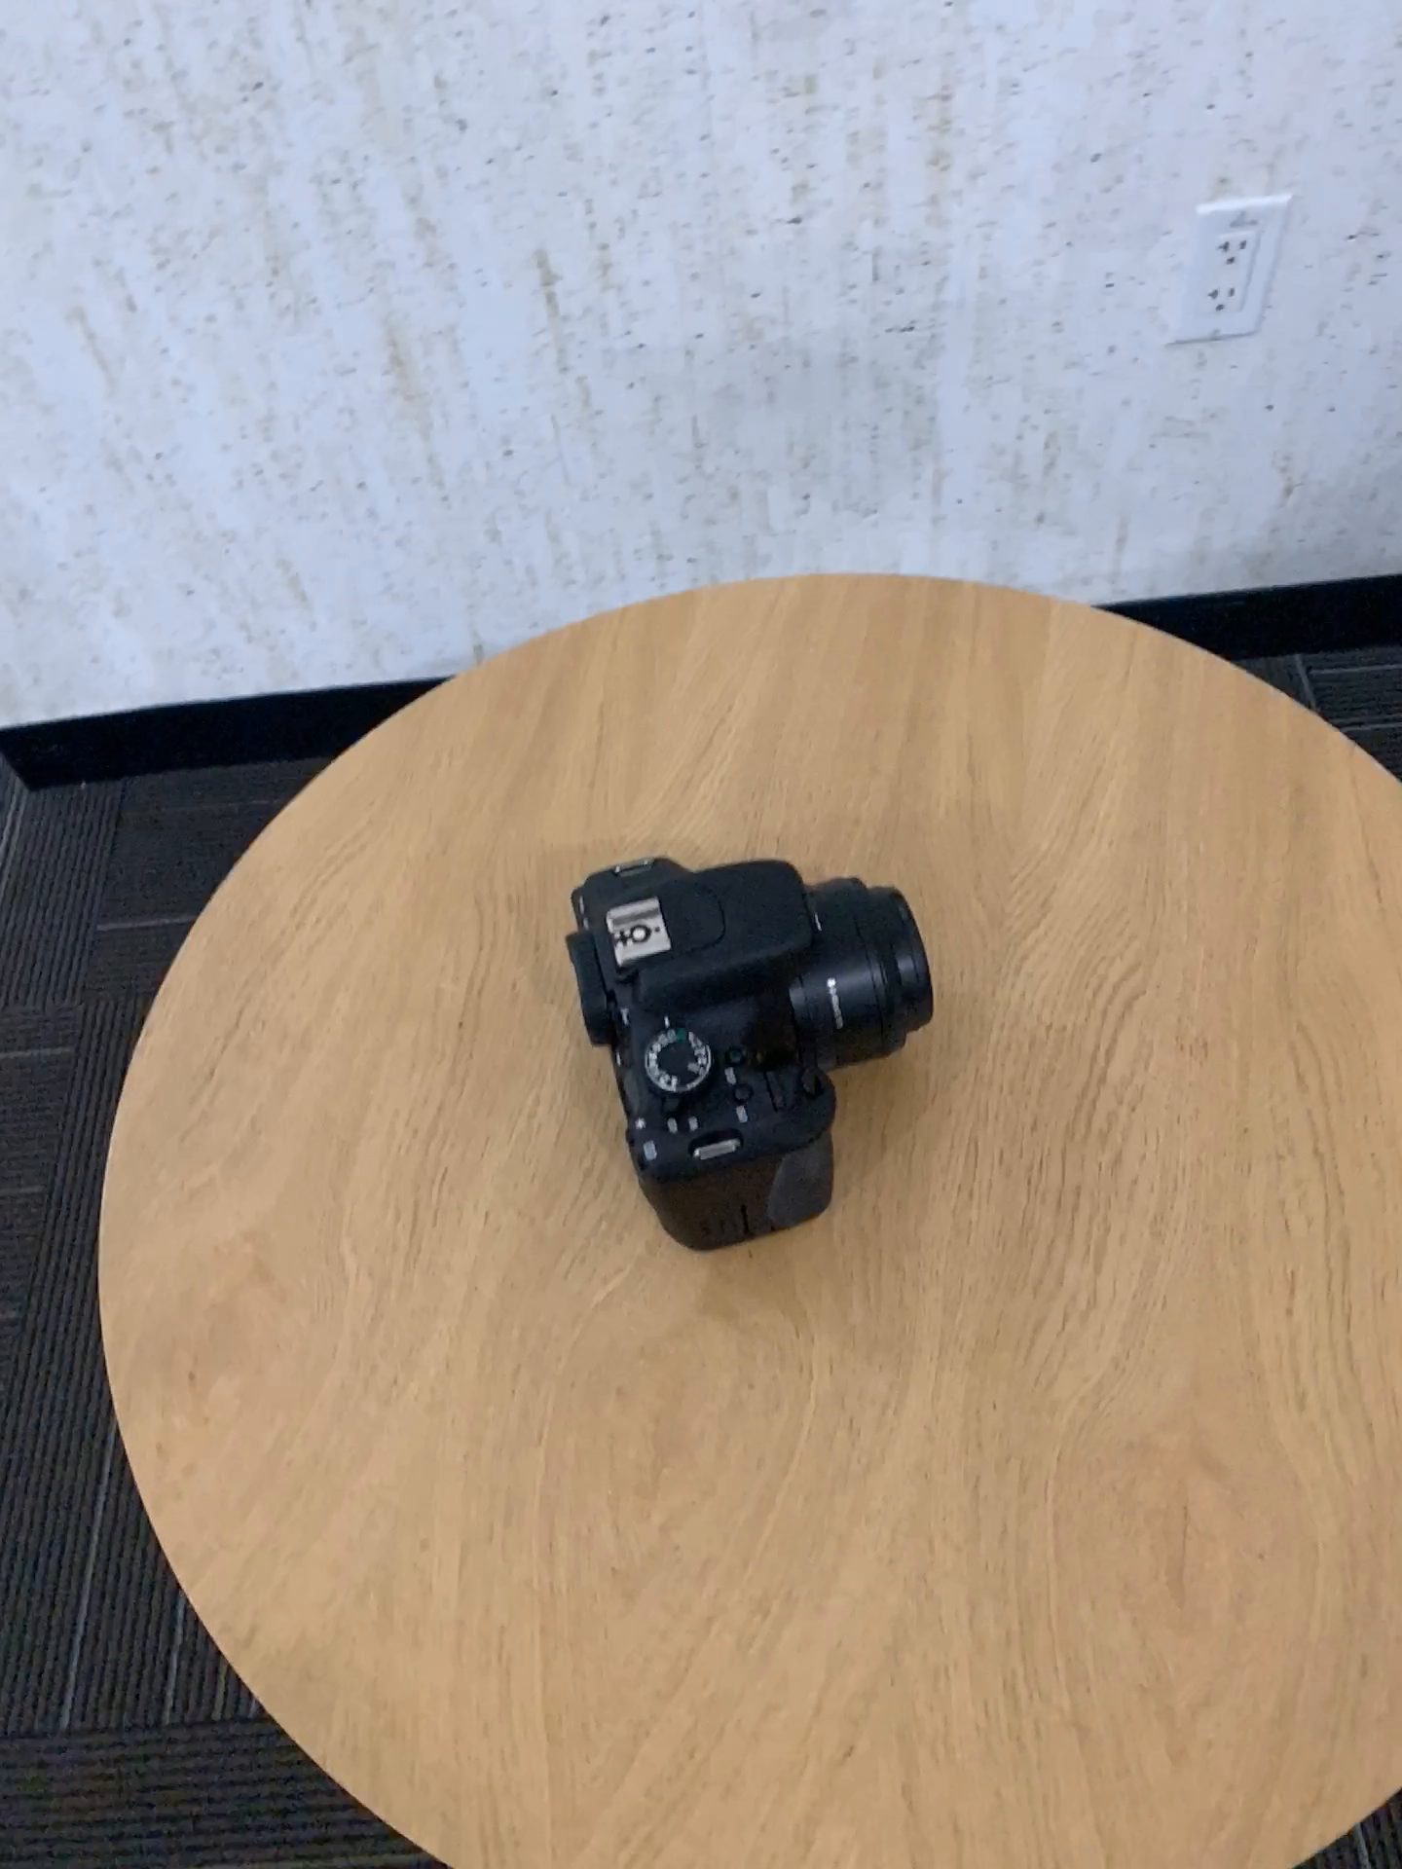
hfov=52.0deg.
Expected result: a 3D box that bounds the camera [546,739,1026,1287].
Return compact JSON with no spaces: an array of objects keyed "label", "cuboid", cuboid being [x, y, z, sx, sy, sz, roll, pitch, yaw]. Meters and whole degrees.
[{"label":"camera","cuboid":[0.026,0.027,0.493,0.120,0.100,0.130,-14,57,-3]}]
